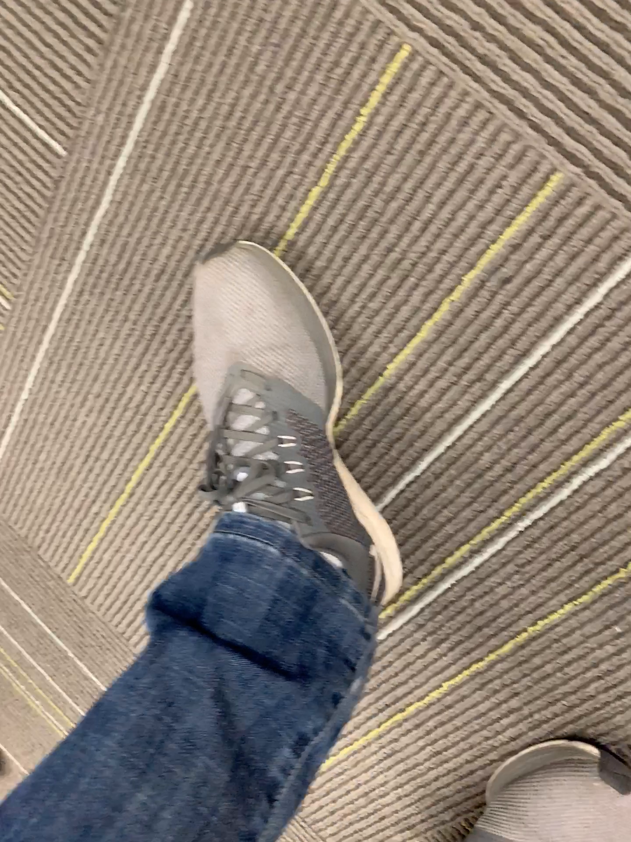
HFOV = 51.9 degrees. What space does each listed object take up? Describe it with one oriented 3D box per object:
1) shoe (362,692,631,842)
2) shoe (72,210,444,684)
[{"bbox_3d":[0.167,0.376,0.526,0.128,0.093,0.301,32,122,13],"label":"shoe"},{"bbox_3d":[-0.033,0.029,0.472,0.132,0.093,0.313,-15,103,32],"label":"shoe"}]
